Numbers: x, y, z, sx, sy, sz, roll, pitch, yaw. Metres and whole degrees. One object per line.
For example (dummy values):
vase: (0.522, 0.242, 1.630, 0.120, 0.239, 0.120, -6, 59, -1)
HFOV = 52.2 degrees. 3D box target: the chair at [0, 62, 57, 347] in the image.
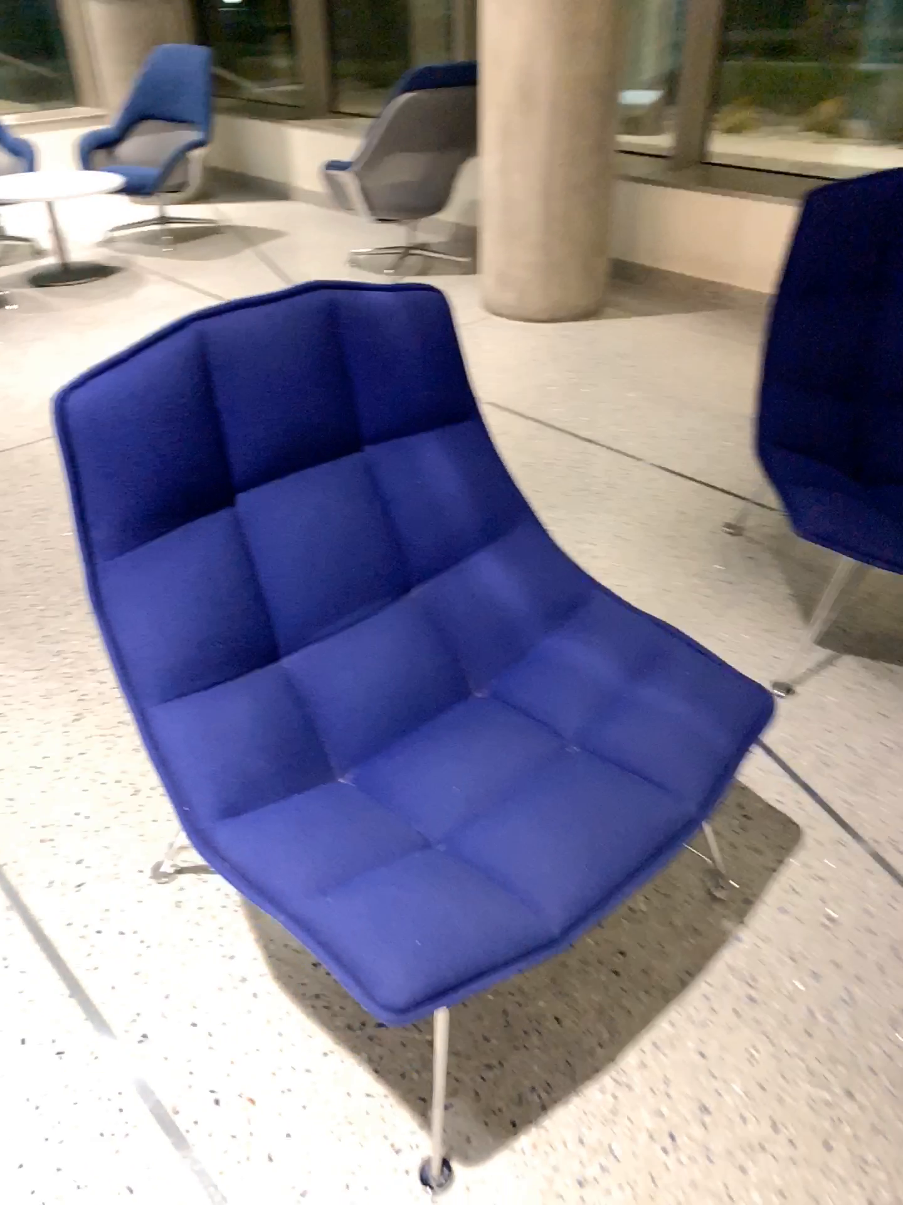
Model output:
chair: (-2.378, -1.746, 3.971, 0.803, 0.932, 0.774, 27, 43, 35)

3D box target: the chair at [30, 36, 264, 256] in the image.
chair: (-1.667, -2.589, 5.184, 0.782, 0.971, 0.765, 19, 39, 27)

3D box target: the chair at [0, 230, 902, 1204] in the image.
chair: (0.009, 0.080, 1.345, 0.811, 0.932, 0.784, -28, 43, -34)

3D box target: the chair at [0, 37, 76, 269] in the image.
chair: (-2.568, -2.358, 4.793, 0.773, 0.942, 0.673, 28, 44, 36)

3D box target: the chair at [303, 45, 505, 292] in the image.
chair: (-0.235, -2.200, 4.634, 0.642, 0.961, 0.775, -23, 41, -29)
